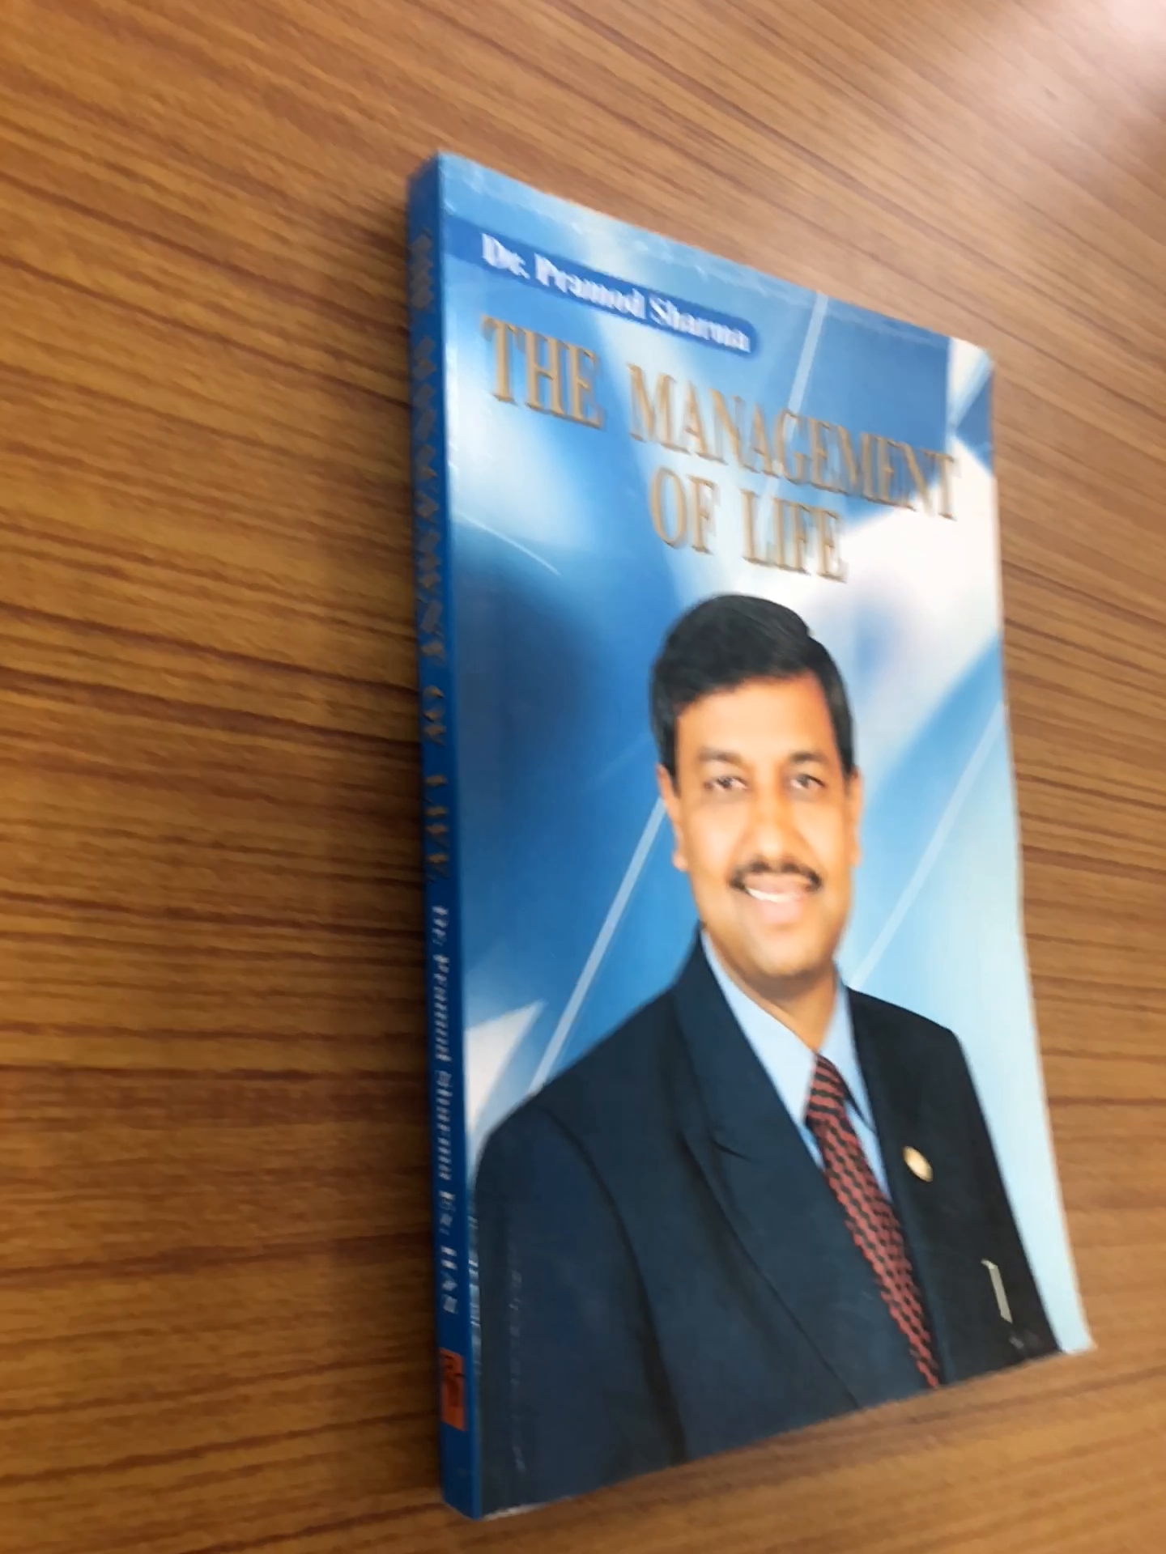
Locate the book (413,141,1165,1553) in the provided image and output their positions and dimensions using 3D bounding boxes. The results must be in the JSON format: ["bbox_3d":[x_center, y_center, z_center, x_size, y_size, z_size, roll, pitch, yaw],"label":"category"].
[{"bbox_3d":[0.043,0.009,0.239,0.150,0.020,0.210,4,79,-33],"label":"book"}]
